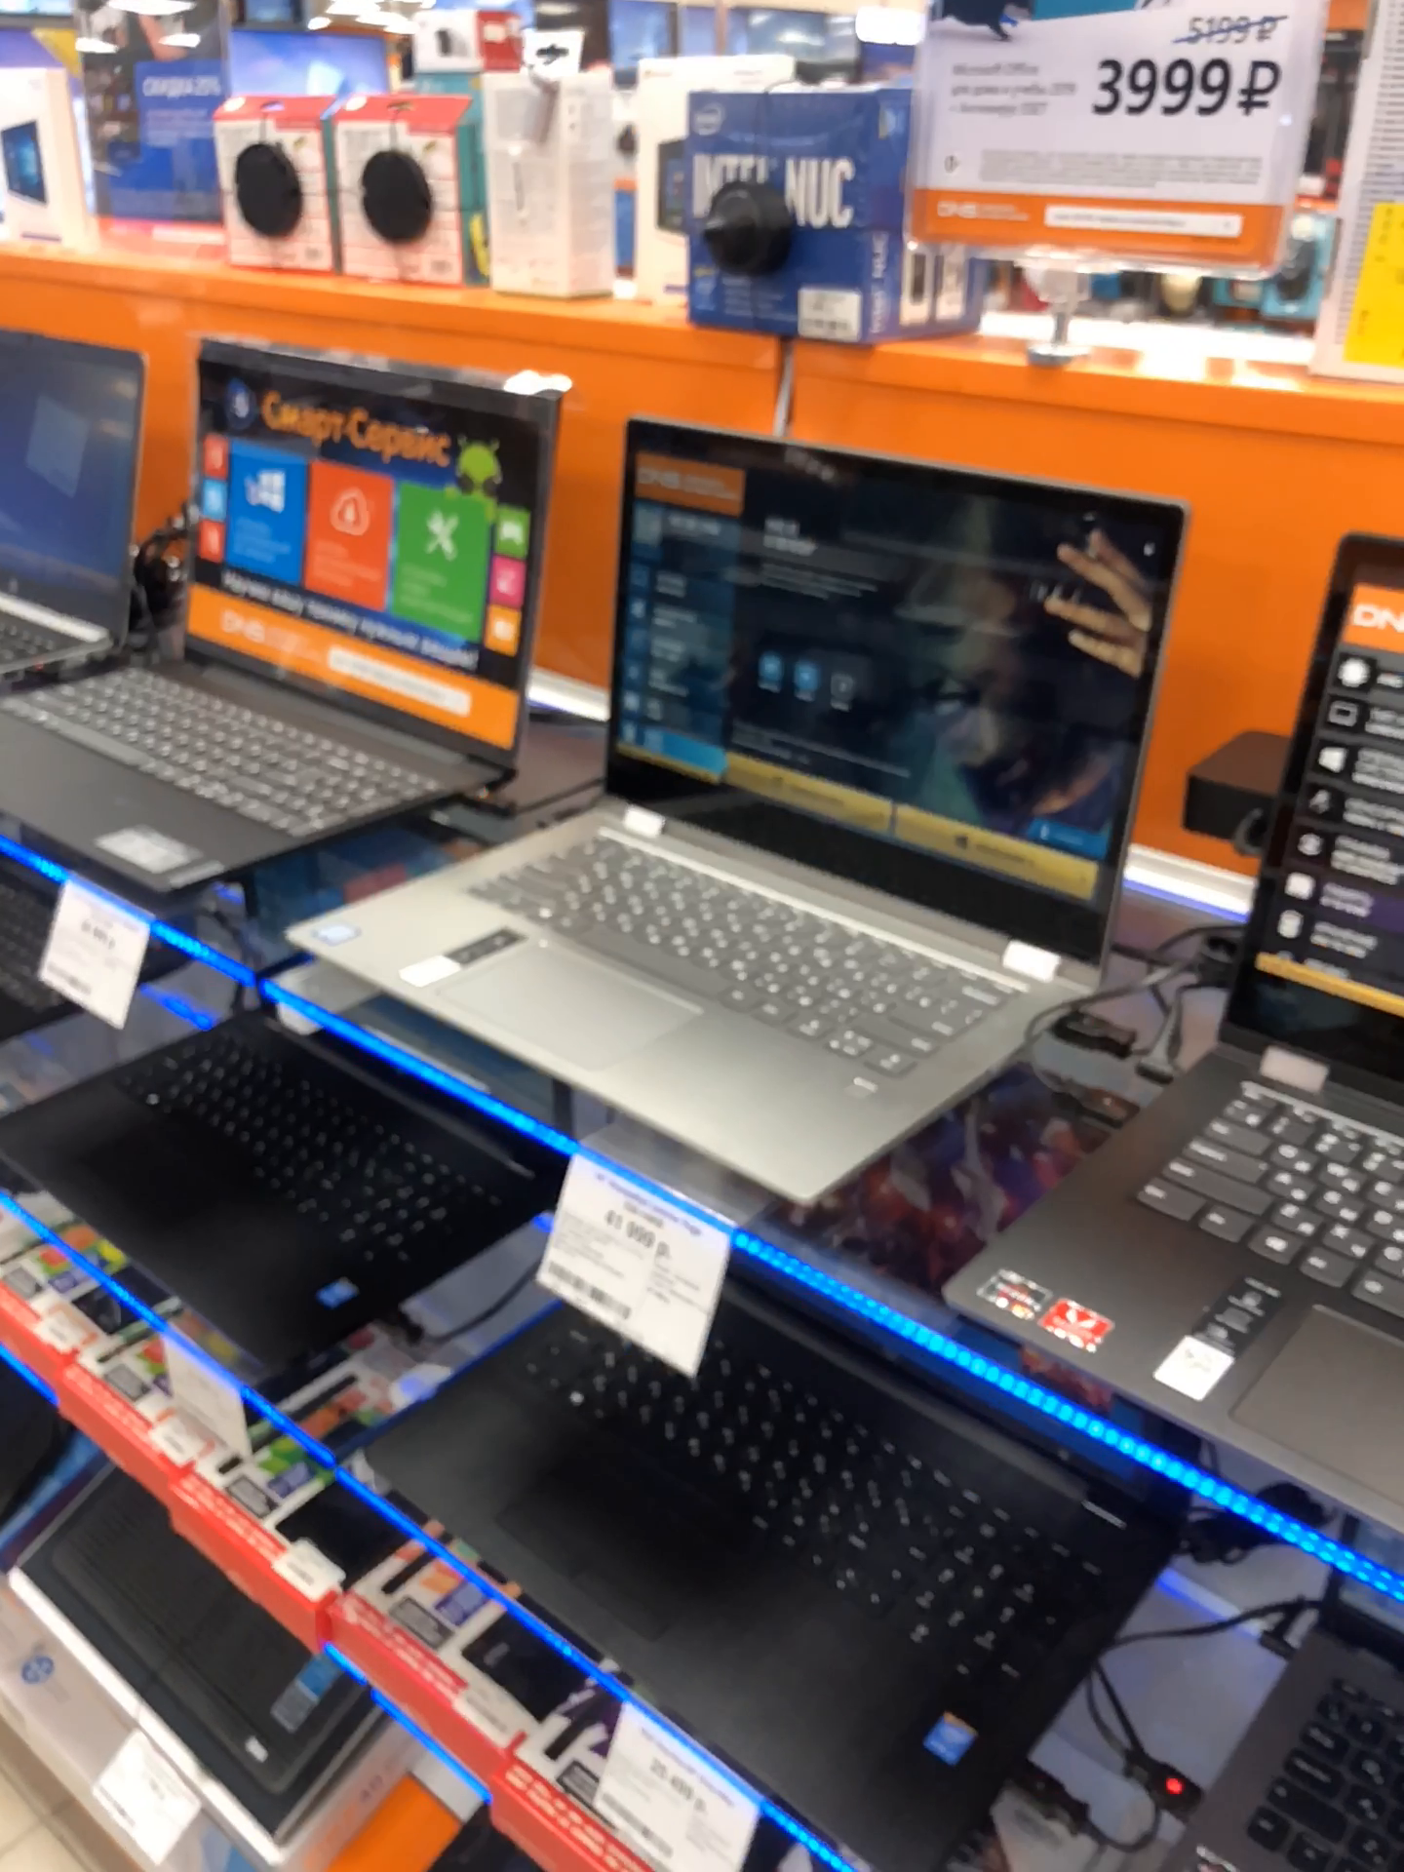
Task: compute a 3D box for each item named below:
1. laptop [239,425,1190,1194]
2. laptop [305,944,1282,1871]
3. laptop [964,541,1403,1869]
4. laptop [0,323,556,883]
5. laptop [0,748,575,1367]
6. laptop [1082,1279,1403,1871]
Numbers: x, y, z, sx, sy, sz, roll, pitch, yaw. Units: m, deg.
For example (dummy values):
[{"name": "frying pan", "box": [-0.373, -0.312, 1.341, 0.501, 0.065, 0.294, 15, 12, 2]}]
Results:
[{"name": "laptop", "box": [0.000, -0.087, 0.696, 0.316, 0.212, 0.238, 22, 34, 37]}, {"name": "laptop", "box": [0.036, 0.193, 0.784, 0.368, 0.207, 0.264, 20, 33, 36]}, {"name": "laptop", "box": [0.273, 0.026, 0.472, 0.290, 0.209, 0.248, 22, 33, 37]}, {"name": "laptop", "box": [-0.302, -0.220, 0.927, 0.305, 0.212, 0.279, 22, 34, 32]}, {"name": "laptop", "box": [-0.308, 0.055, 1.065, 0.379, 0.235, 0.239, 22, 34, 37]}, {"name": "laptop", "box": [0.341, 0.317, 0.537, 0.309, 0.213, 0.237, 21, 32, 39]}]
